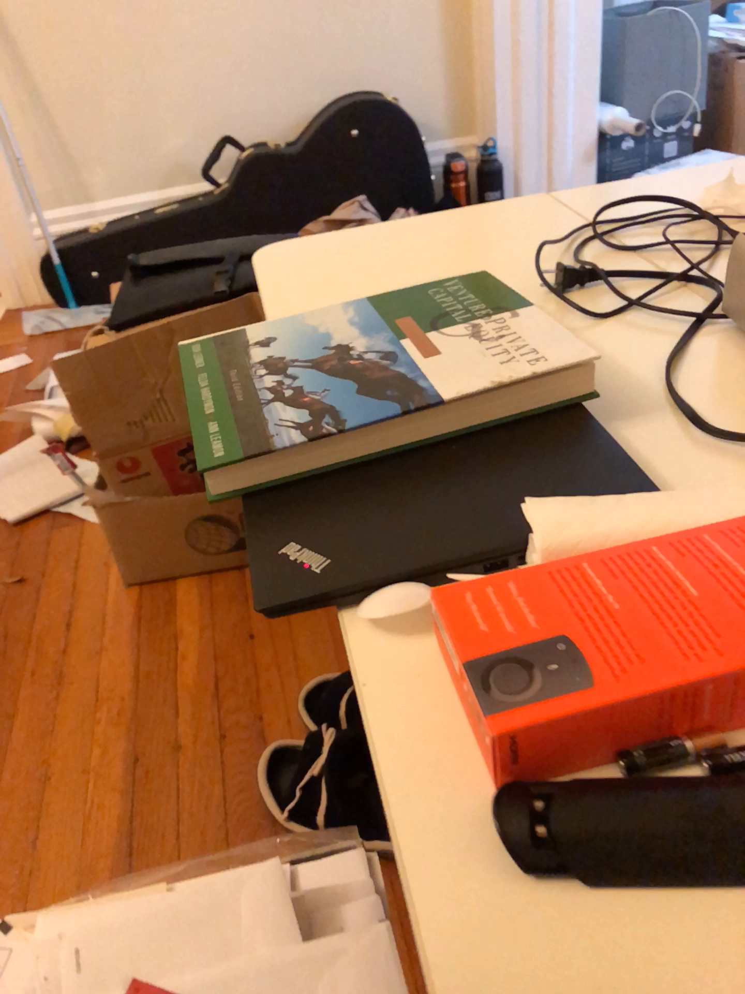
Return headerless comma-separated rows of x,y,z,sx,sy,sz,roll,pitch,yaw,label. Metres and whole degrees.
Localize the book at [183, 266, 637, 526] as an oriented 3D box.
0.009,-0.088,0.590,0.270,0.030,0.221,-15,35,-8,book
